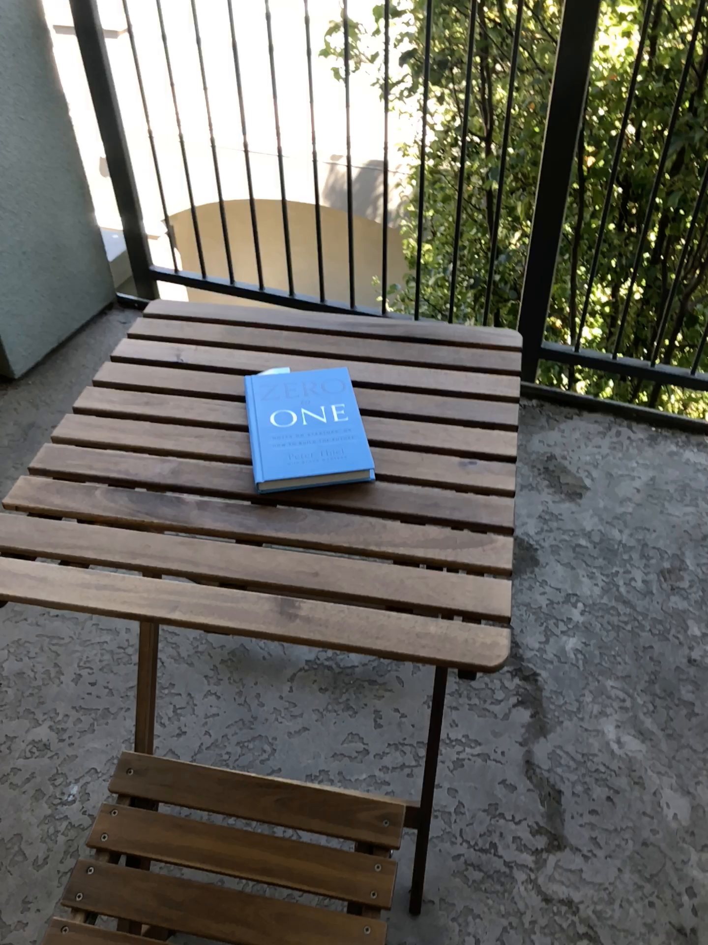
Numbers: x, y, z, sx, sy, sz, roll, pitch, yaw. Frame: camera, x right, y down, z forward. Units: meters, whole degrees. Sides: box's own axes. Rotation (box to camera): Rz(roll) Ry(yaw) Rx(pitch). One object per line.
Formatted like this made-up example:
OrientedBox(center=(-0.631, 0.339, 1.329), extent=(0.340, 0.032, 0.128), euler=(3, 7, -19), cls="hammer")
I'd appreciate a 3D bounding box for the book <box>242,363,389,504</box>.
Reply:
OrientedBox(center=(-0.056, -0.057, 1.009), extent=(0.160, 0.030, 0.221), euler=(-7, 43, -6), cls="book")
